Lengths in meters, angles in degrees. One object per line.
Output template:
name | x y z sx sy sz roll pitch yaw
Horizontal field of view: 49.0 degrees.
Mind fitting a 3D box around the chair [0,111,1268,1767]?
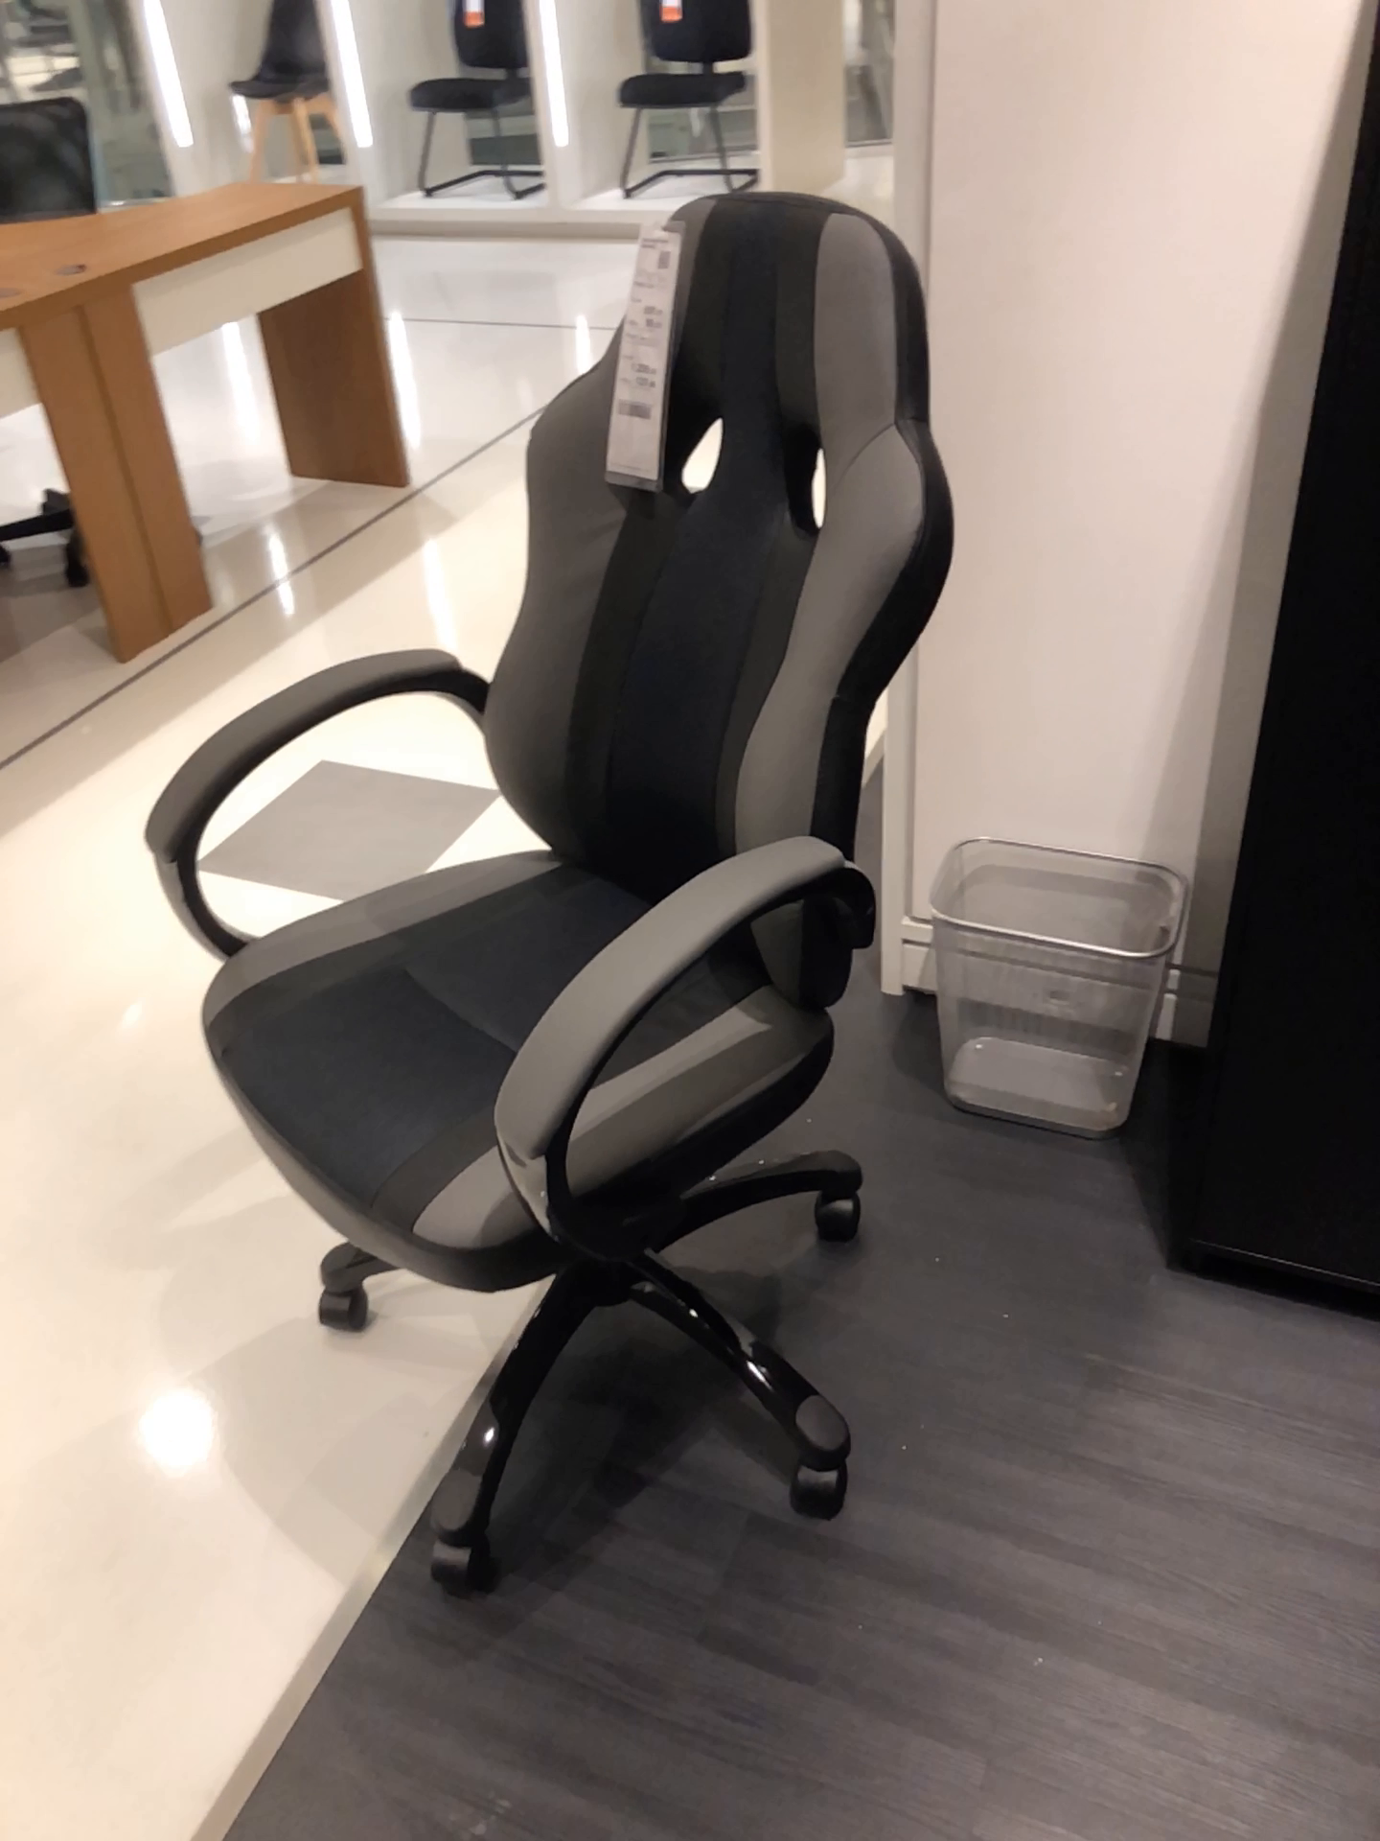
chair | -0.080 -0.037 1.434 0.783 1.161 0.713 -28 41 -30
